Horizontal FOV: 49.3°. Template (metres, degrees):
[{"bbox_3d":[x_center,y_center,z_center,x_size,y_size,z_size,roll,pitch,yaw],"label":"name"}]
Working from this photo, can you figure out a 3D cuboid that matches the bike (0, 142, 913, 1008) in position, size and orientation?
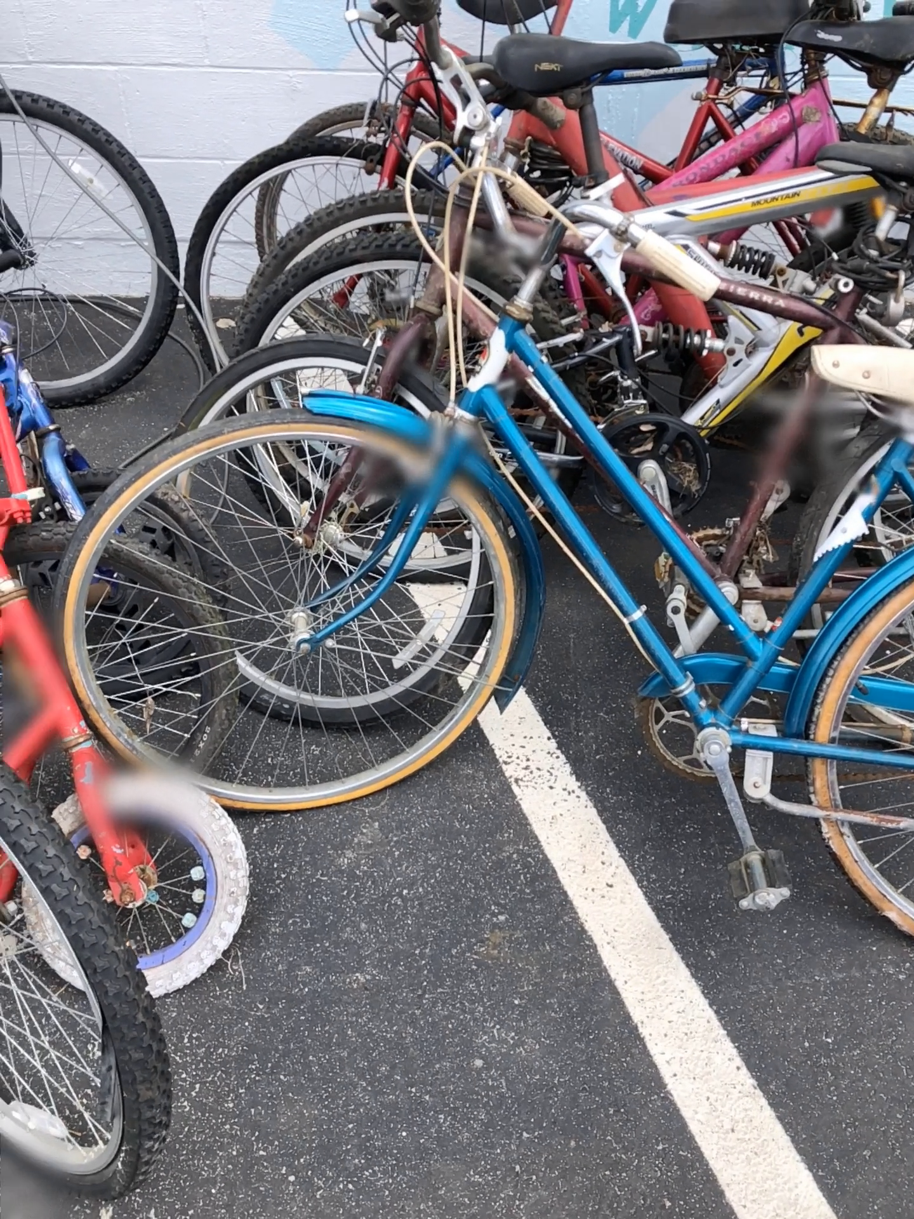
[{"bbox_3d":[0.289,-0.044,1.219,1.480,0.760,0.478,7,40,6],"label":"bike"}]
